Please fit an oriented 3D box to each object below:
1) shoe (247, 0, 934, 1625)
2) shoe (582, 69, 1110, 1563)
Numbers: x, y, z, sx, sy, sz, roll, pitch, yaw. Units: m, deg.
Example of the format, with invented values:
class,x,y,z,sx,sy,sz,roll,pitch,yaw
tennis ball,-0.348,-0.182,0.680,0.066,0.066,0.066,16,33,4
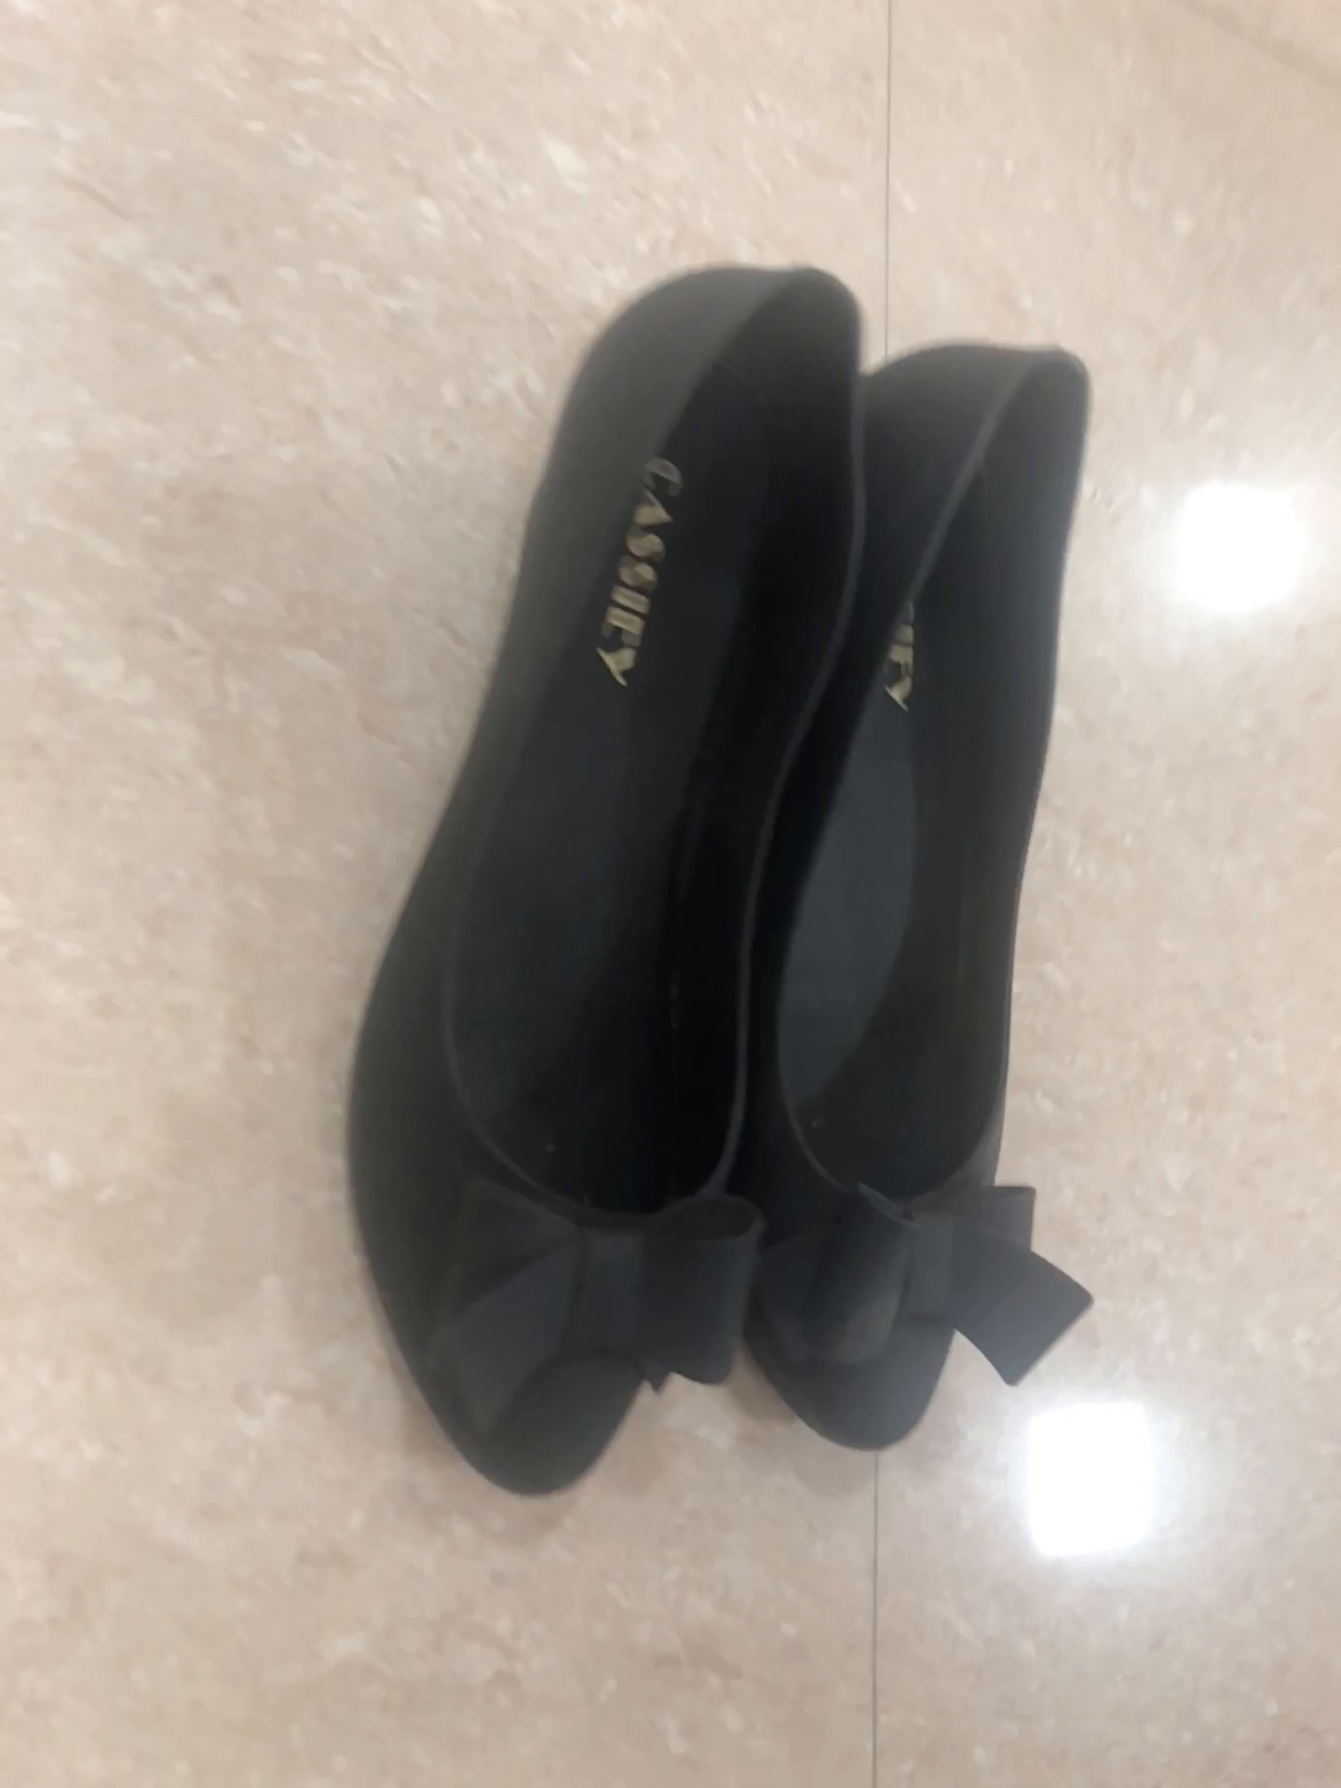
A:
class,x,y,z,sx,sy,sz,roll,pitch,yaw
shoe,-0.017,-0.022,0.328,0.090,0.090,0.310,9,82,-28
shoe,0.042,-0.017,0.367,0.090,0.090,0.310,3,85,-29
